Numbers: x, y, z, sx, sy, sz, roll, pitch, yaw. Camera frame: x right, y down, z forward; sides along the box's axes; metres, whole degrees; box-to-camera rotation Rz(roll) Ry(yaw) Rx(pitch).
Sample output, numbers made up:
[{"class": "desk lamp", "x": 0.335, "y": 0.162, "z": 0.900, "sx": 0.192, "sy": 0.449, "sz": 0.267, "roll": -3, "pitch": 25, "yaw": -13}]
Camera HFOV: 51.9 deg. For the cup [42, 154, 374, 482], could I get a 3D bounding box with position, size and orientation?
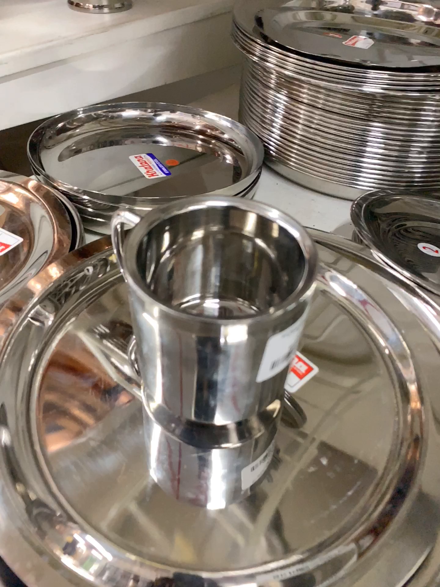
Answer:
[{"class": "cup", "x": -0.005, "y": 0.004, "z": 0.179, "sx": 0.090, "sy": 0.070, "sz": 0.070, "roll": 30, "pitch": 50, "yaw": 26}]
